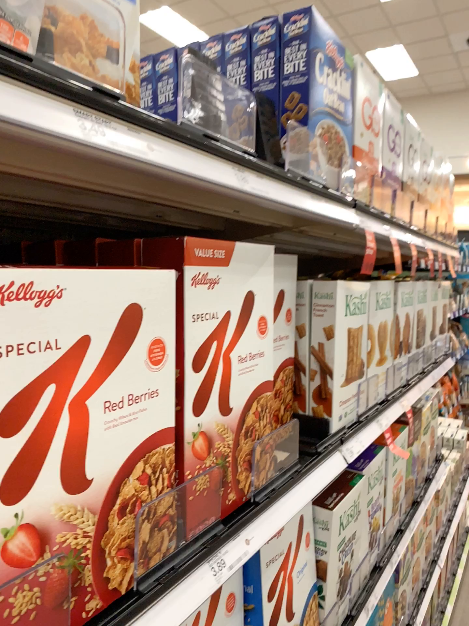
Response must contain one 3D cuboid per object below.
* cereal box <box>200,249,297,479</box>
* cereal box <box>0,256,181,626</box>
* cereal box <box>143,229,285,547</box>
[{"bbox_3d":[0.029,0.067,0.788,0.060,0.330,0.200,4,5,30],"label":"cereal box"},{"bbox_3d":[-0.133,0.102,0.412,0.060,0.290,0.200,4,5,30],"label":"cereal box"},{"bbox_3d":[-0.016,0.070,0.580,0.060,0.320,0.200,4,5,31],"label":"cereal box"}]
